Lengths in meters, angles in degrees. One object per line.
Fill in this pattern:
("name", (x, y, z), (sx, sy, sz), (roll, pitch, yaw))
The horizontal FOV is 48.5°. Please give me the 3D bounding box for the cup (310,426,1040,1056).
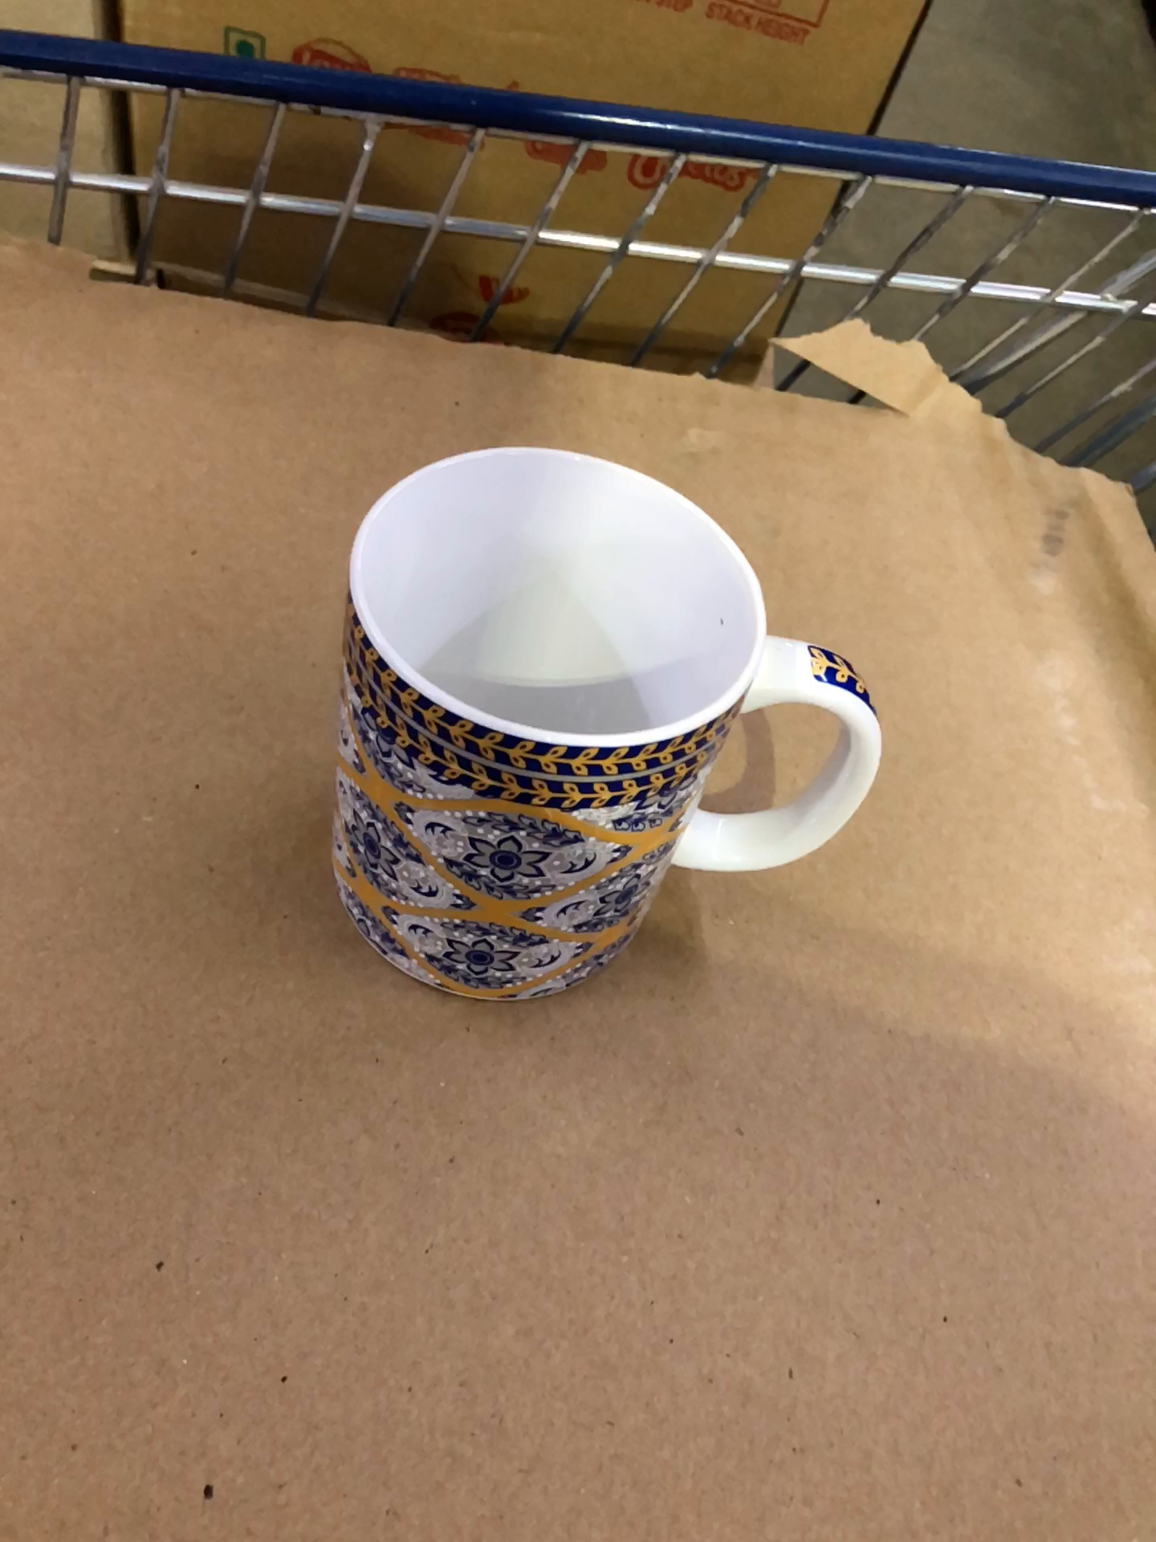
("cup", (0.008, -0.005, 0.274), (0.120, 0.100, 0.080), (-2, 49, -15))
